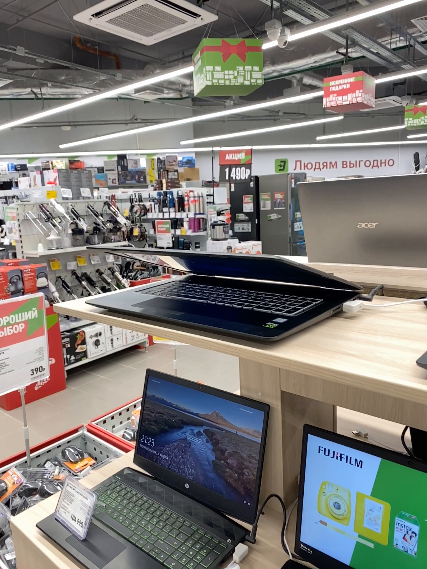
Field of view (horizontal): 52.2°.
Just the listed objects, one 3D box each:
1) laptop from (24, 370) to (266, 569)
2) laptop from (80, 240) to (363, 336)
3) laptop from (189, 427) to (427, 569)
[{"bbox_3d":[-0.127,0.360,0.862,0.344,0.220,0.314,7,12,38],"label":"laptop"},{"bbox_3d":[0.004,-0.019,0.750,0.404,0.084,0.271,5,14,41],"label":"laptop"},{"bbox_3d":[0.208,0.395,0.558,0.354,0.226,0.298,5,12,40],"label":"laptop"}]
